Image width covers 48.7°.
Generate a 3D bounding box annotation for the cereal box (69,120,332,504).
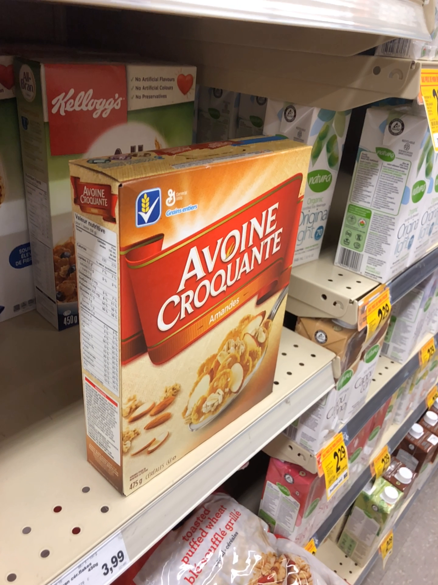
[{"bbox_3d":[-0.013,0.008,0.403,0.060,0.268,0.201,28,36,34],"label":"cereal box"}]
